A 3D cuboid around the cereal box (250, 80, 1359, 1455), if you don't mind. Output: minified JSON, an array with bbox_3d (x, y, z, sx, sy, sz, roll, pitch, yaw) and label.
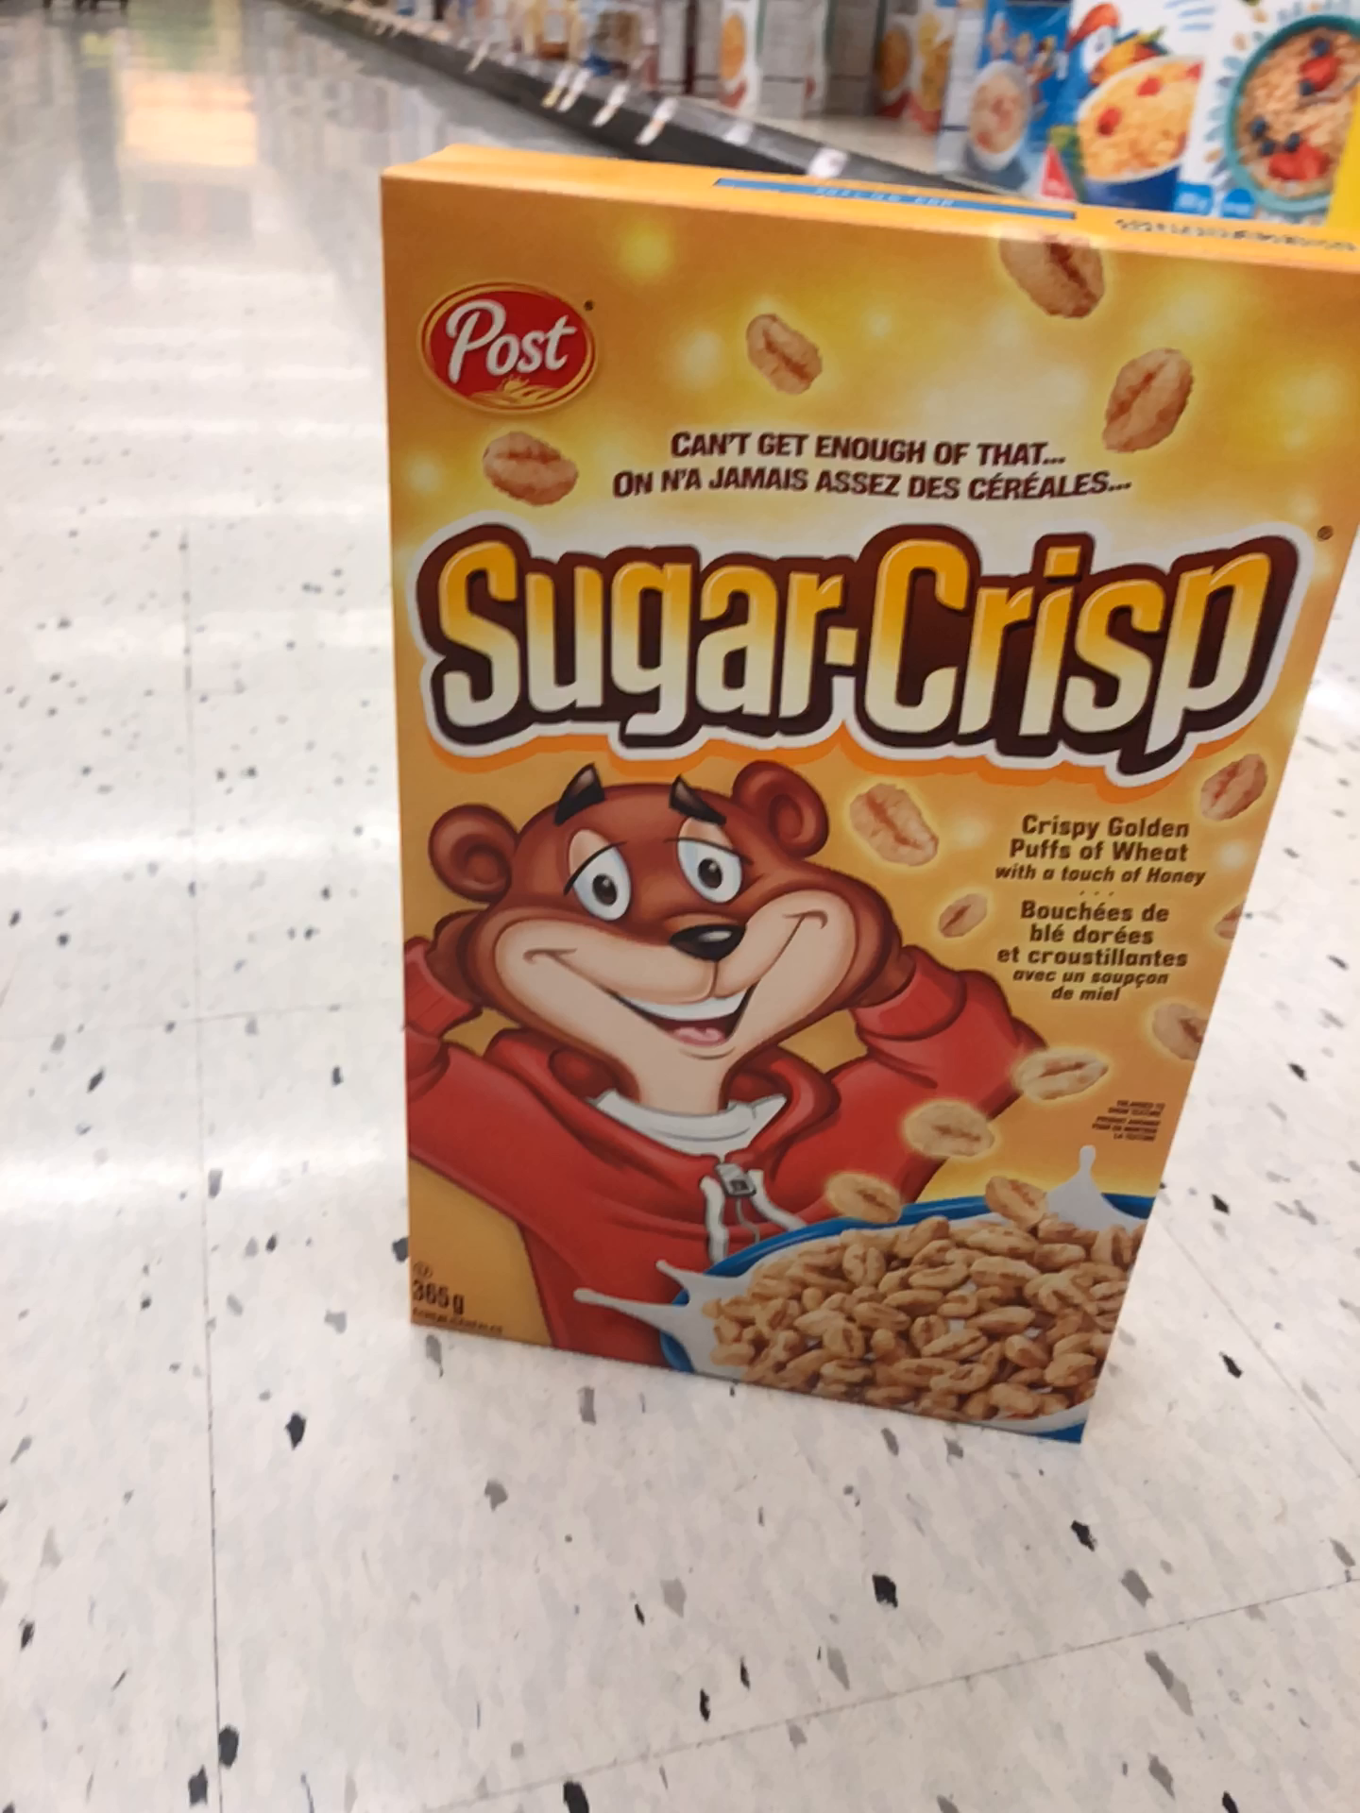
[{"bbox_3d":[0.022,-0.015,0.355,0.210,0.298,0.060,8,31,6],"label":"cereal box"}]
